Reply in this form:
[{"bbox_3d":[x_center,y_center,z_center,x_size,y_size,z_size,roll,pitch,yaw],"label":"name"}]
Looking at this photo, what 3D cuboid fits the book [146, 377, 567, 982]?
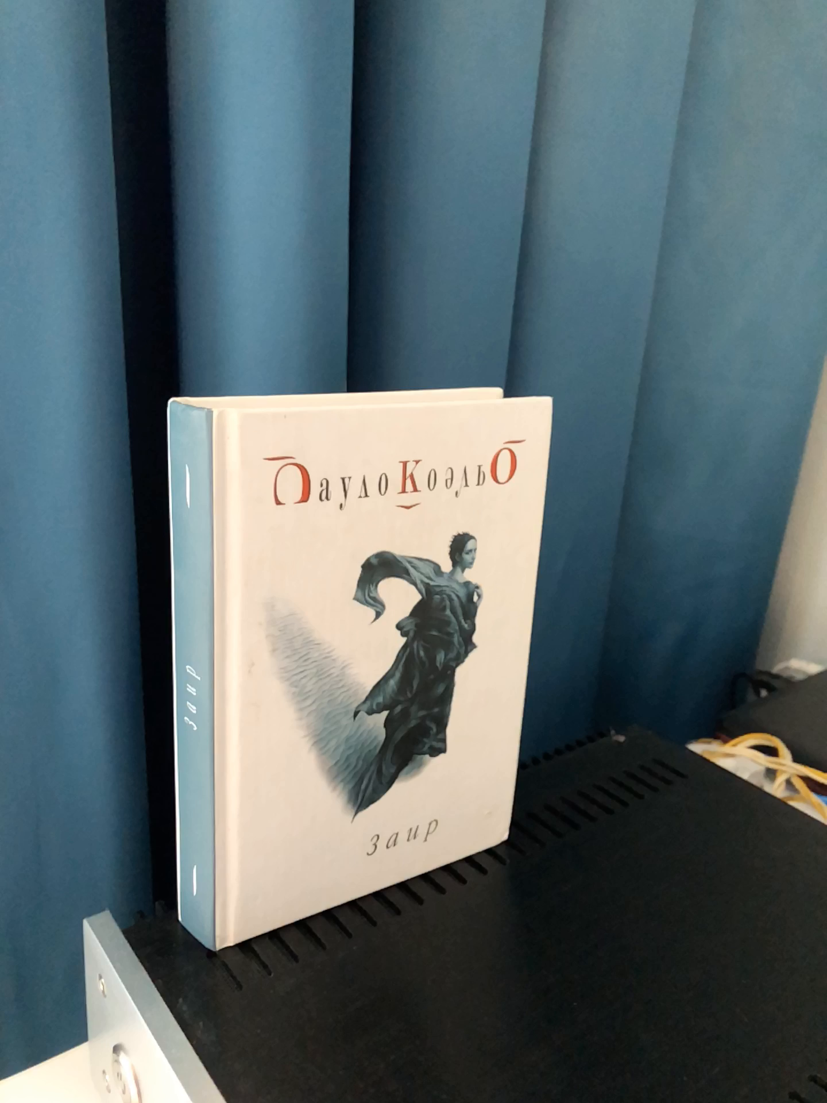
[{"bbox_3d":[-0.017,0.036,0.306,0.130,0.179,0.030,-8,21,-32],"label":"book"}]
